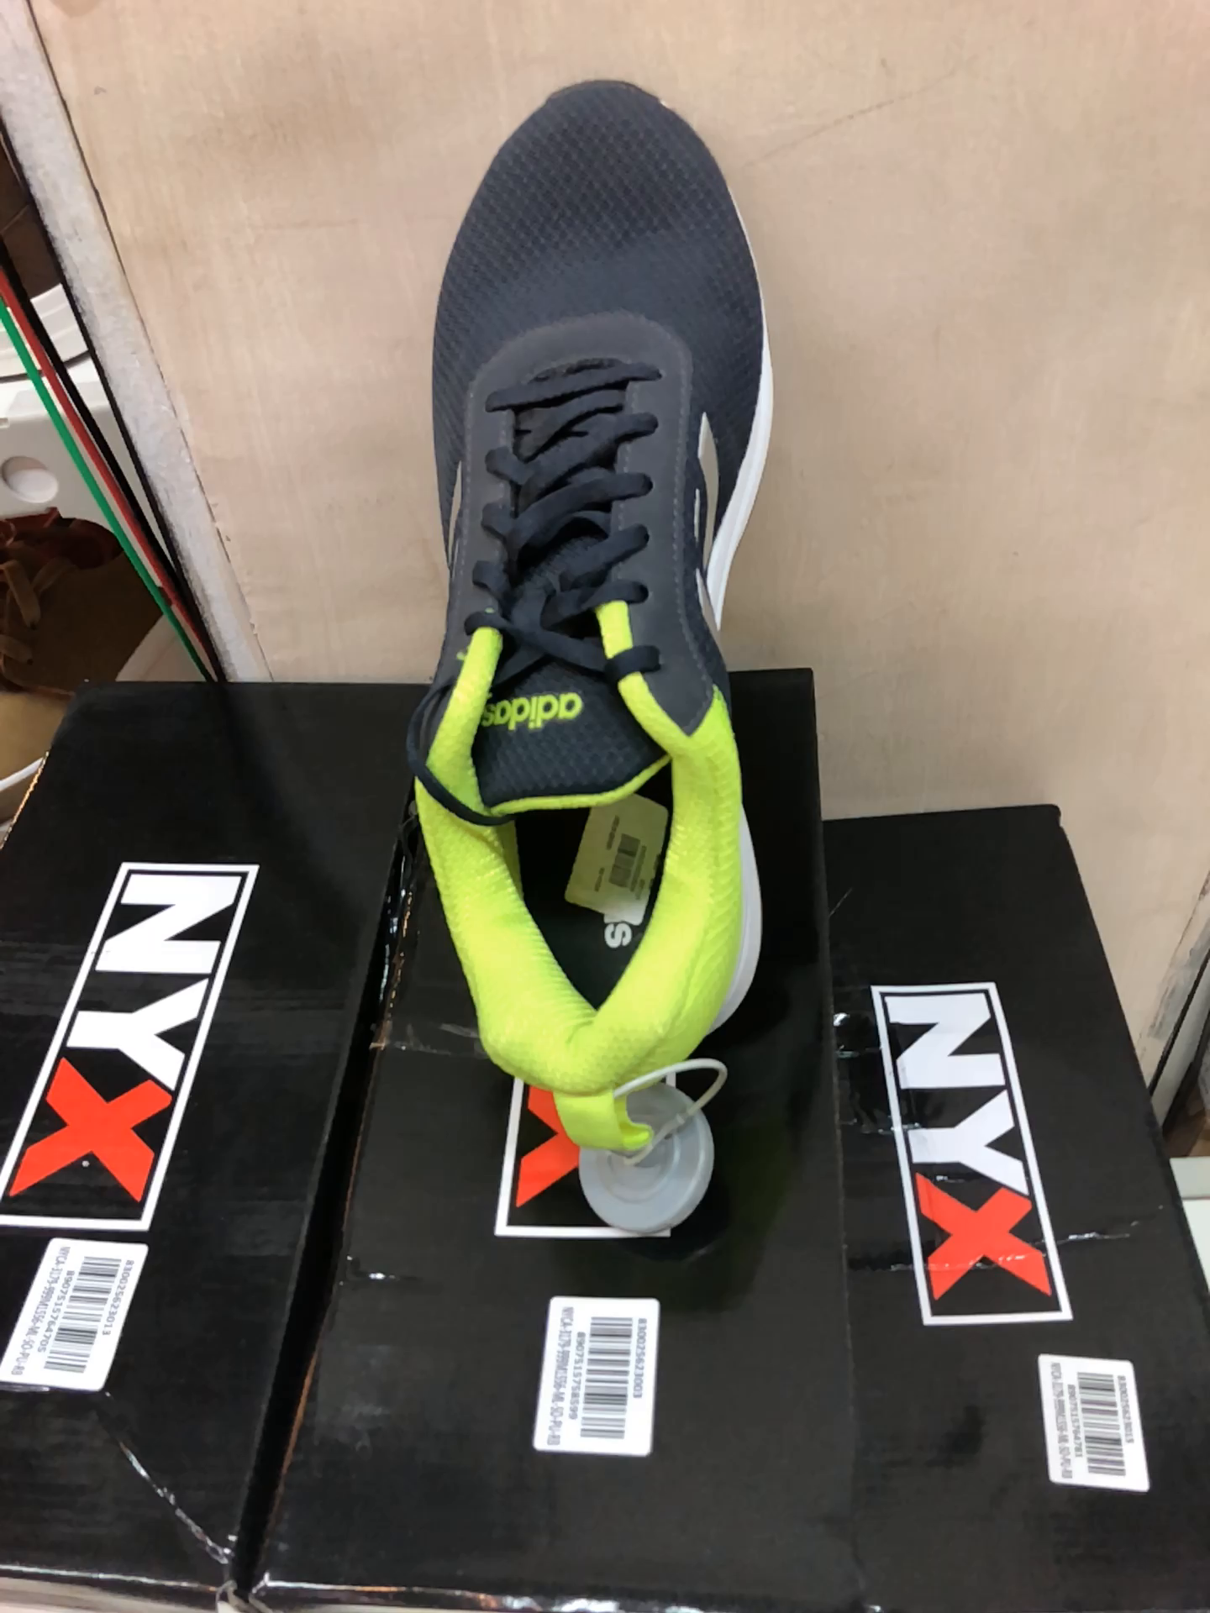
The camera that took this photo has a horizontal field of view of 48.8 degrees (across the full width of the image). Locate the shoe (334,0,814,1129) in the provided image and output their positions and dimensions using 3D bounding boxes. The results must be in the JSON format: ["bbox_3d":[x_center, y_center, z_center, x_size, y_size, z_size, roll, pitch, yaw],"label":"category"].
[{"bbox_3d":[-0.005,-0.059,0.360,0.104,0.098,0.272,-3,83,11],"label":"shoe"}]
